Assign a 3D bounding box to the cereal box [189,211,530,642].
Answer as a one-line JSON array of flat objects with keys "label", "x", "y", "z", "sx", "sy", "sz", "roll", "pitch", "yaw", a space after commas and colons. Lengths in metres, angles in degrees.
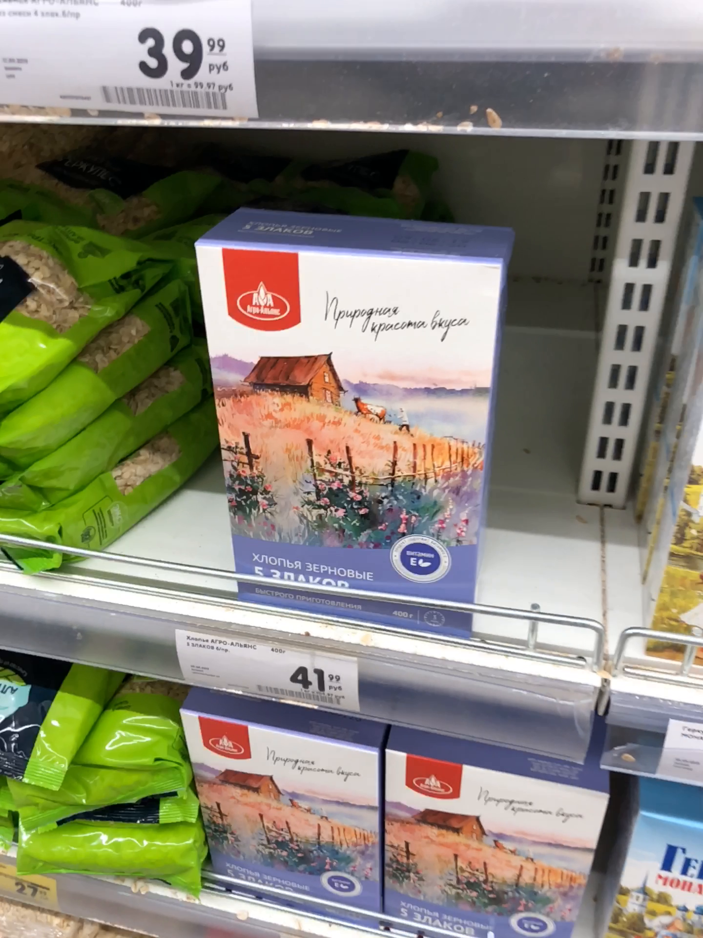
[{"label": "cereal box", "x": 0.008, "y": -0.019, "z": 0.394, "sx": 0.140, "sy": 0.199, "sz": 0.060, "roll": 7, "pitch": 33, "yaw": 13}]
